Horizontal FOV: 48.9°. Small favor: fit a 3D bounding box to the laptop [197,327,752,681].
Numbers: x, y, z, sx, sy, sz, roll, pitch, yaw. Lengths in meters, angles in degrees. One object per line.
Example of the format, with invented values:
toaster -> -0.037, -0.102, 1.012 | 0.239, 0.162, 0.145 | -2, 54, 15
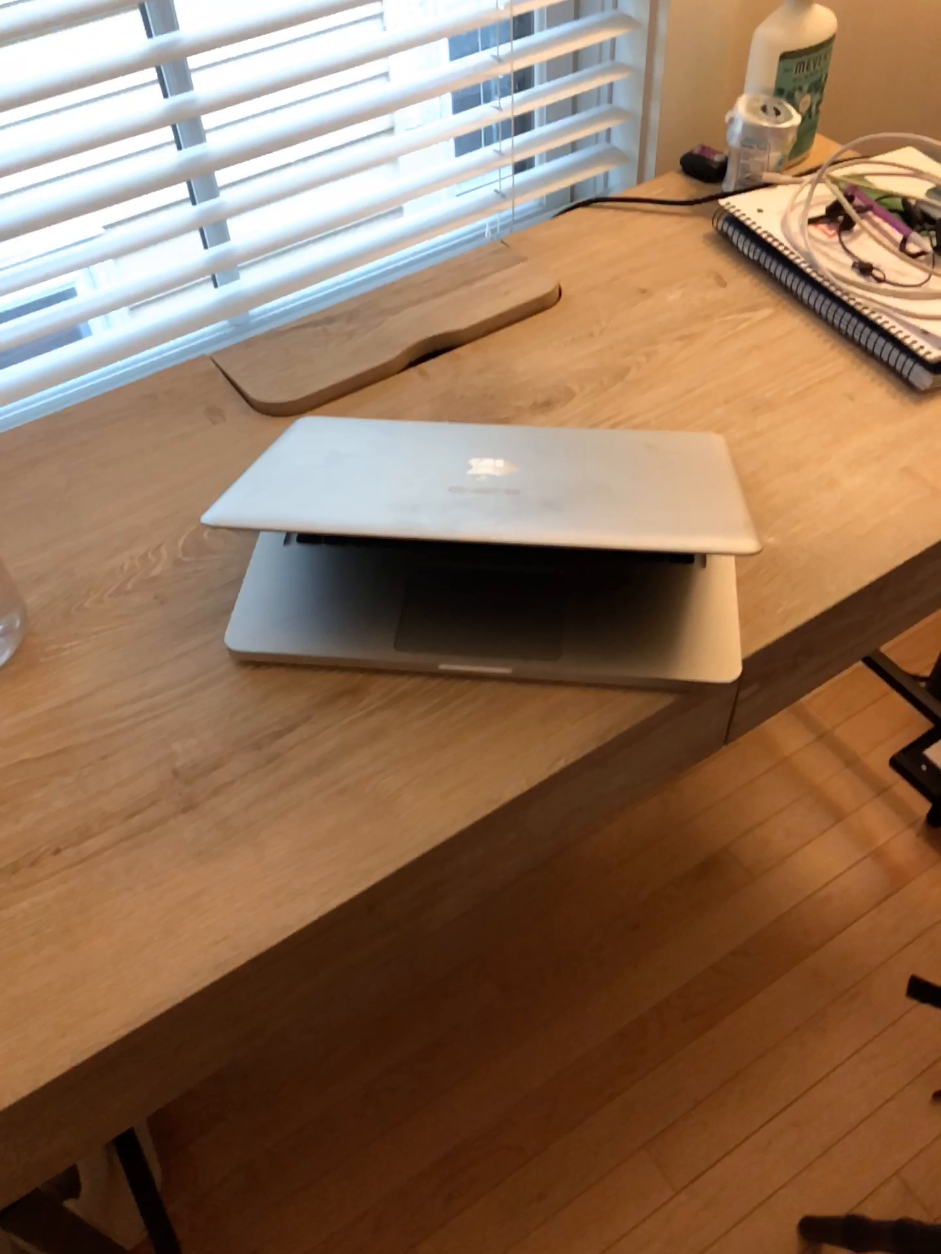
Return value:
laptop -> 0.011, -0.086, 0.651 | 0.299, 0.082, 0.210 | 4, 51, 6
